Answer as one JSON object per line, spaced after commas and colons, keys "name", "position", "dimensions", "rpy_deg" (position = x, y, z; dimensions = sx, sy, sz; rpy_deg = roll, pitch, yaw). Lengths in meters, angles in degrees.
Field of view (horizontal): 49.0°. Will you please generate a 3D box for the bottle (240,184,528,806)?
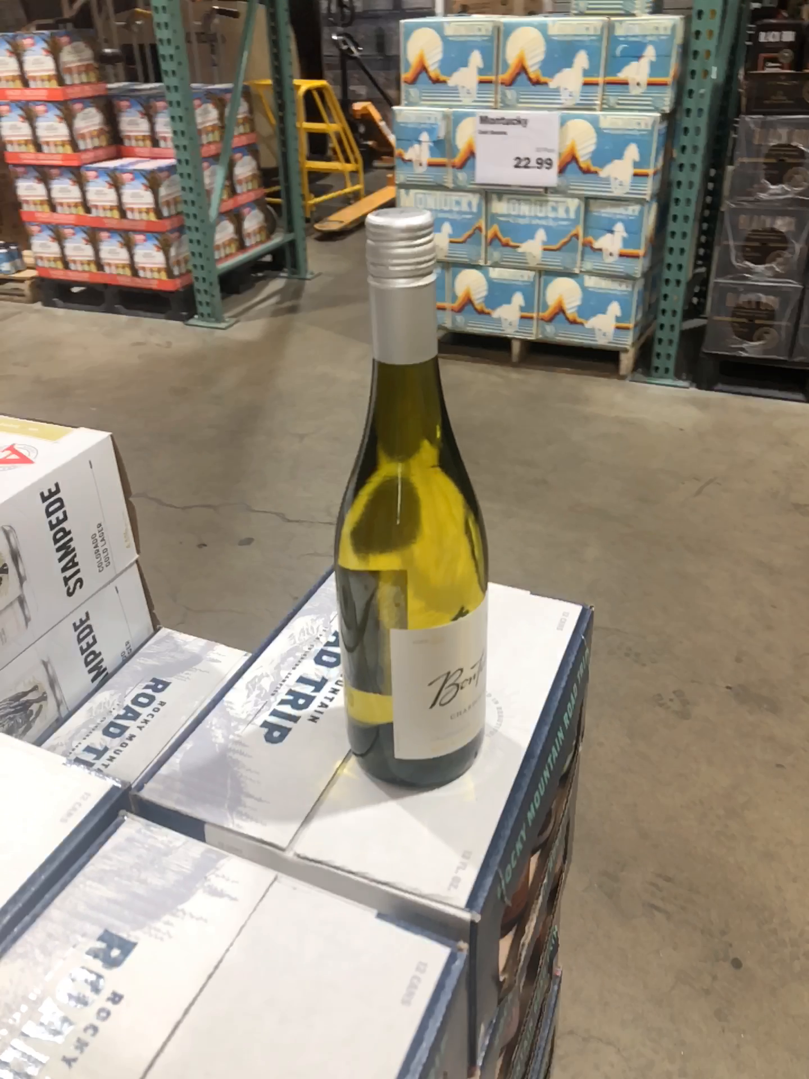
{"name": "bottle", "position": [0.000, -0.014, 0.438], "dimensions": [0.083, 0.284, 0.090], "rpy_deg": [-2, 31, 1]}
